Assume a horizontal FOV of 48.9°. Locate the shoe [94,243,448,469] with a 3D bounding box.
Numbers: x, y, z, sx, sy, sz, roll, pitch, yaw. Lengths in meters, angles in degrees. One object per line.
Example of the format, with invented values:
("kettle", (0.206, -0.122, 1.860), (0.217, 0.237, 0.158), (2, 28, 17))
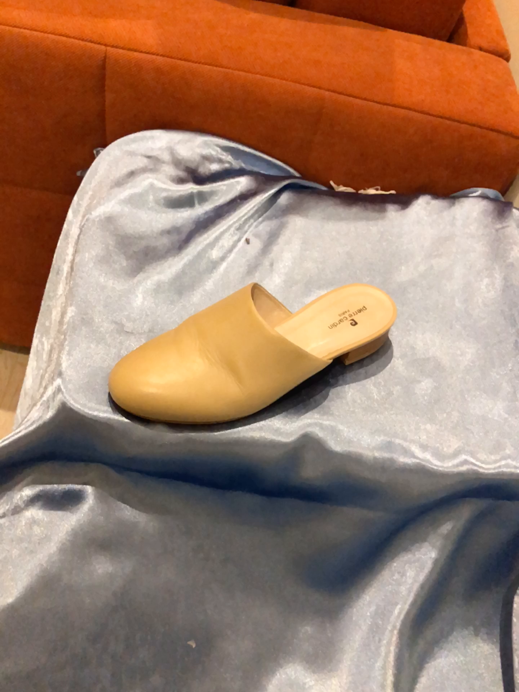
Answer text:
("shoe", (0.012, 0.000, 0.461), (0.261, 0.060, 0.096), (-17, 63, -21))
